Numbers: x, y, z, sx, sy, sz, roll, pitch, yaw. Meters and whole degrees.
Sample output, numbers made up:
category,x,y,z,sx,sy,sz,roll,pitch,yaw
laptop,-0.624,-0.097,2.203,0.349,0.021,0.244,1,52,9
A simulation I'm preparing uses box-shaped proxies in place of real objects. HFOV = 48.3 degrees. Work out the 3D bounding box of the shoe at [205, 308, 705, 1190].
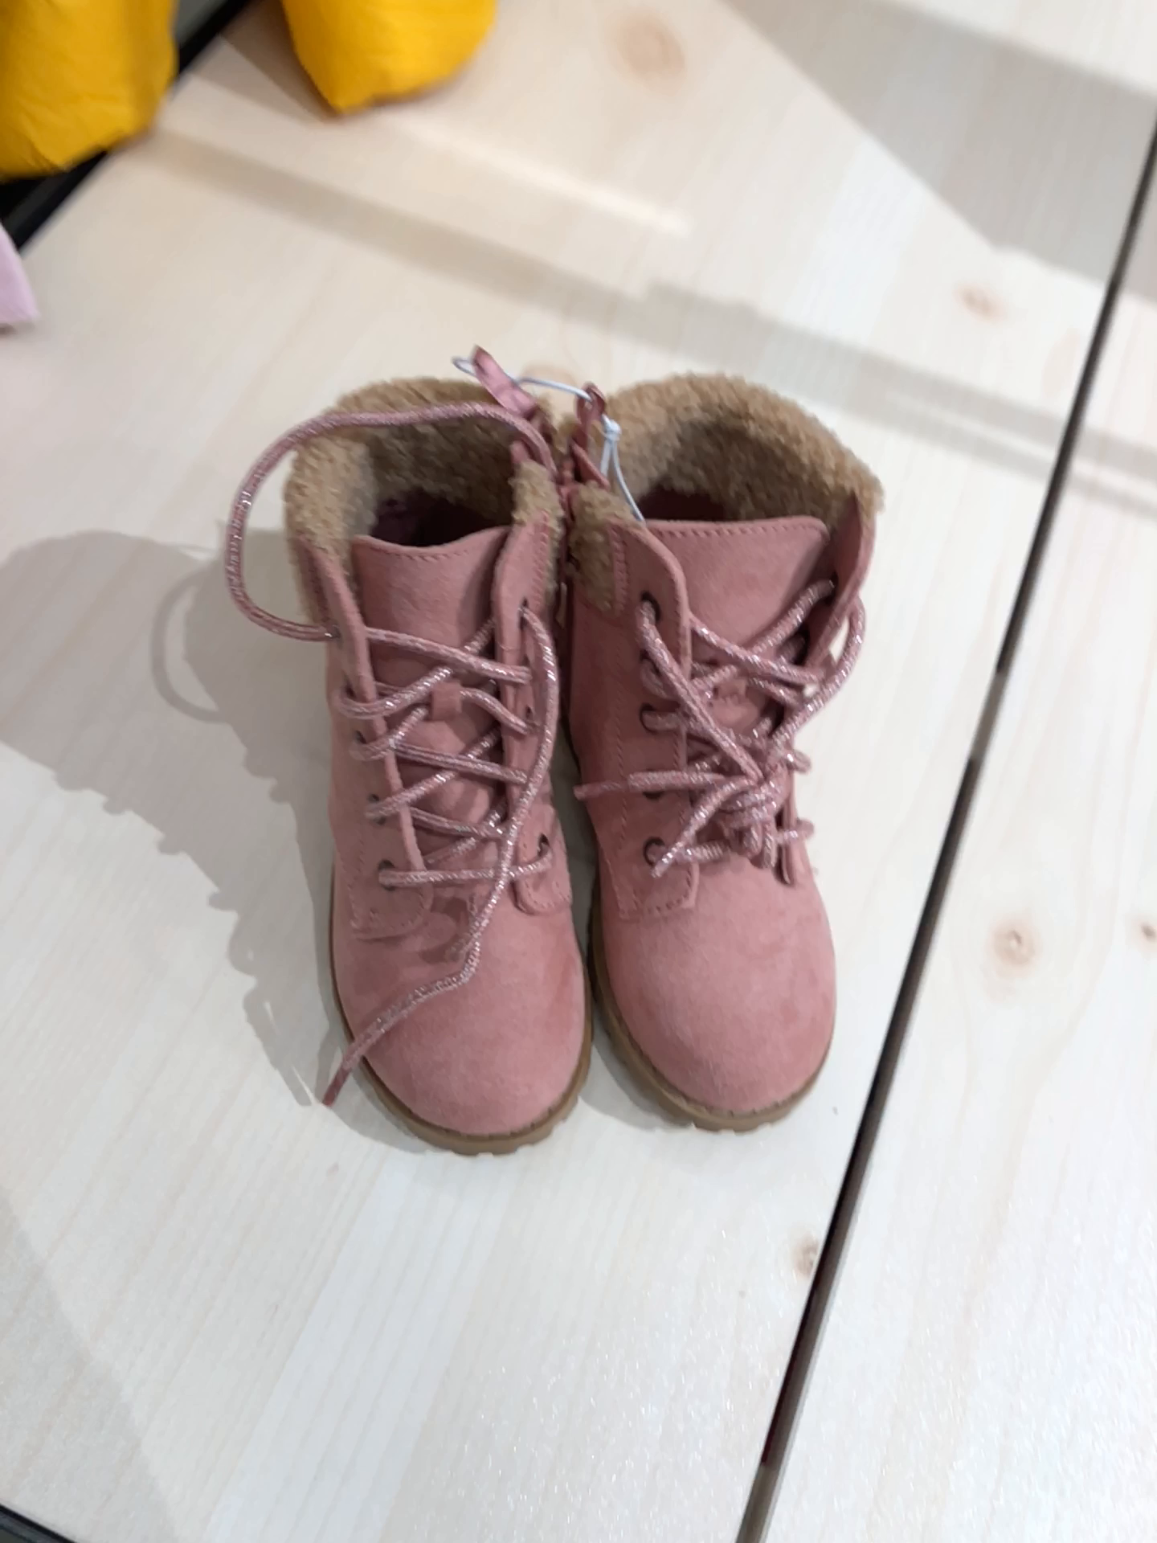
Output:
category,x,y,z,sx,sy,sz,roll,pitch,yaw
shoe,-0.035,-0.002,0.299,0.080,0.120,0.160,-5,62,-8

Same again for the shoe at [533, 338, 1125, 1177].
category,x,y,z,sx,sy,sz,roll,pitch,yaw
shoe,0.042,0.000,0.314,0.080,0.120,0.160,-5,62,-8
